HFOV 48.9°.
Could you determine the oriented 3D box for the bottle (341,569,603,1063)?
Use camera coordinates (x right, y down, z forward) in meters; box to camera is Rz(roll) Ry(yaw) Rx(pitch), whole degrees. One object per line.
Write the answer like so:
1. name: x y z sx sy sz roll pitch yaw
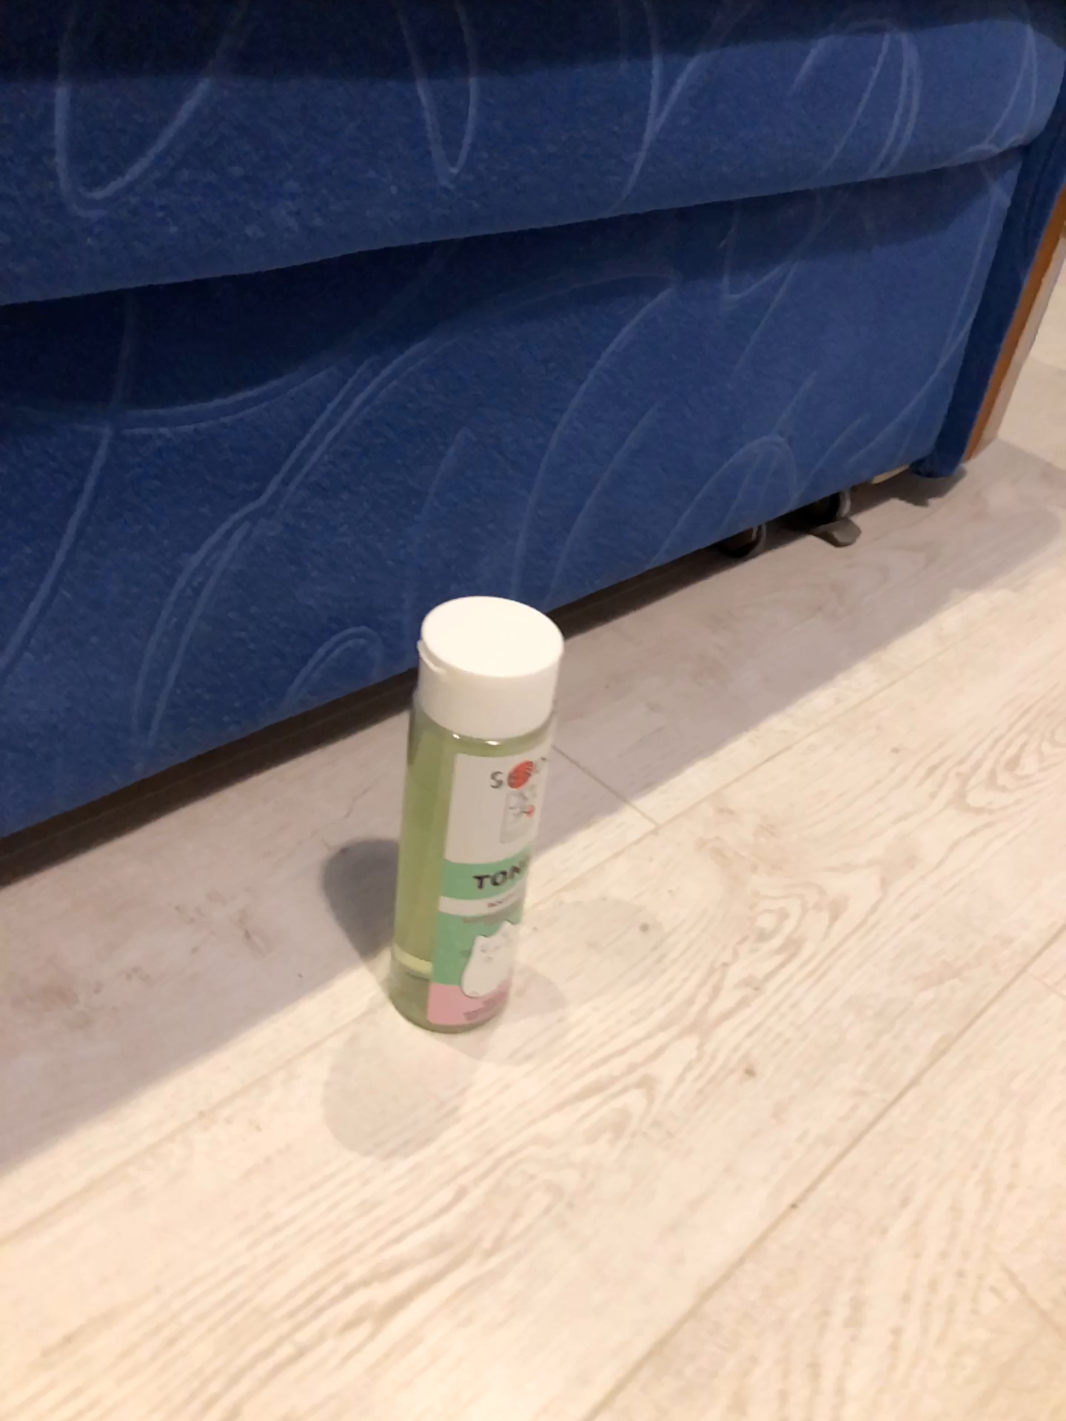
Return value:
1. bottle: -0.026 0.040 0.407 0.053 0.159 0.057 5 36 -4
